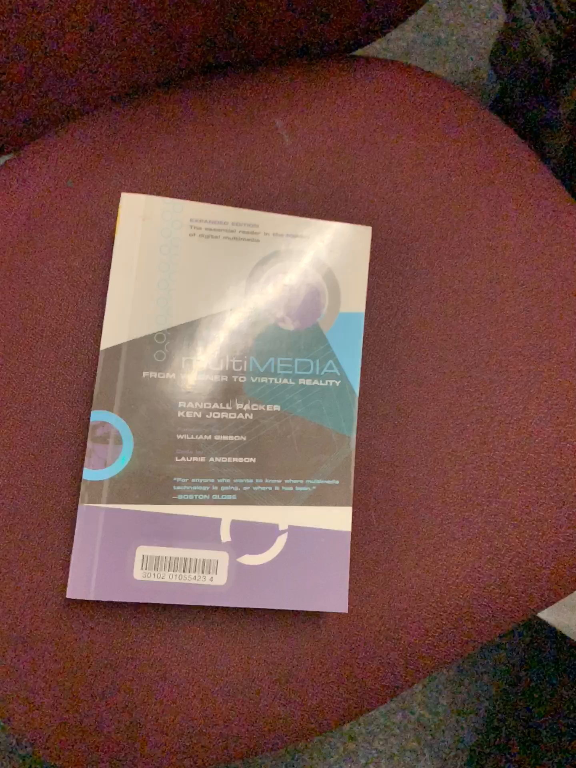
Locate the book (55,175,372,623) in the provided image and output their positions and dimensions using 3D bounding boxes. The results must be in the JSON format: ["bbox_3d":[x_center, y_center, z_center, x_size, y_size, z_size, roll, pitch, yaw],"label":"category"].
[{"bbox_3d":[-0.037,0.007,0.361,0.160,0.040,0.248,5,80,-7],"label":"book"}]
